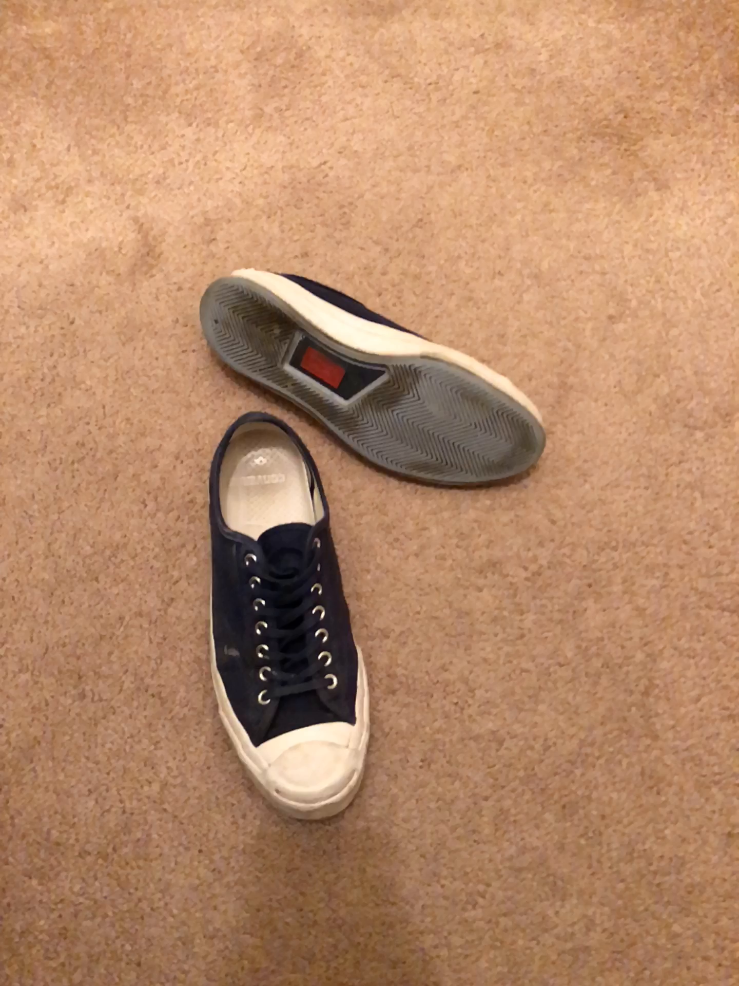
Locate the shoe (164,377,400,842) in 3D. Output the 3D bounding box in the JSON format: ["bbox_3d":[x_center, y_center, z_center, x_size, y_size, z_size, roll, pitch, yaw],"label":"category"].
[{"bbox_3d":[-0.063,0.076,0.562,0.116,0.099,0.287,-8,68,-4],"label":"shoe"}]

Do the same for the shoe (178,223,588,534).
[{"bbox_3d":[0.006,-0.096,0.646,0.296,0.104,0.099,25,42,9],"label":"shoe"}]
